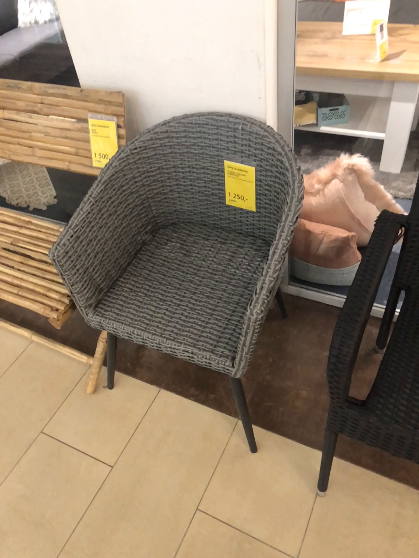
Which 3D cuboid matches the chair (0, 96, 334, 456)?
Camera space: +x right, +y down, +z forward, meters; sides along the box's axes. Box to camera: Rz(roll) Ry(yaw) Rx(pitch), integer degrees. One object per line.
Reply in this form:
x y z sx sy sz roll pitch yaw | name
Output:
-0.040 -0.009 1.281 0.571 0.737 0.521 16 50 22 | chair
